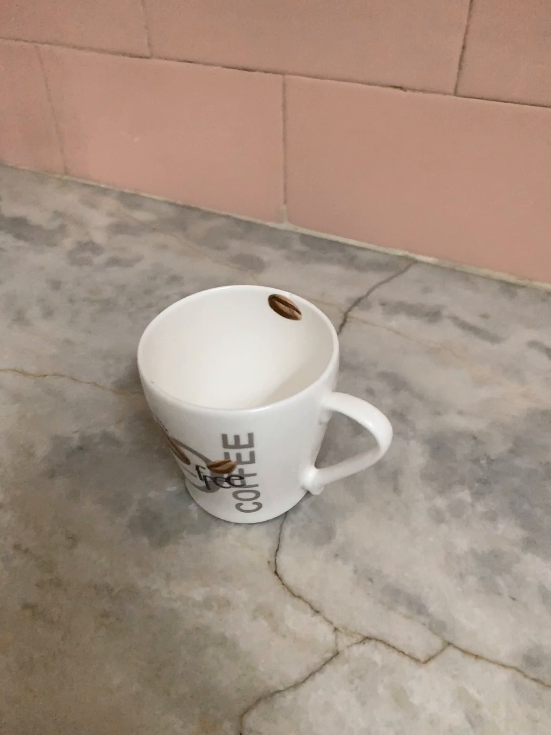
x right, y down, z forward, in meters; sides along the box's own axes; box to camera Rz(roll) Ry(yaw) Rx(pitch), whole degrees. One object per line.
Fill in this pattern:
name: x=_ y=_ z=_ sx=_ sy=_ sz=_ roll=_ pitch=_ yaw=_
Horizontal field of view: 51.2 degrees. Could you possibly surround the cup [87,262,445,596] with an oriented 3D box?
cup: x=-0.001 y=0.018 z=0.217 sx=0.100 sy=0.070 sz=0.070 roll=17 pitch=45 yaw=20
